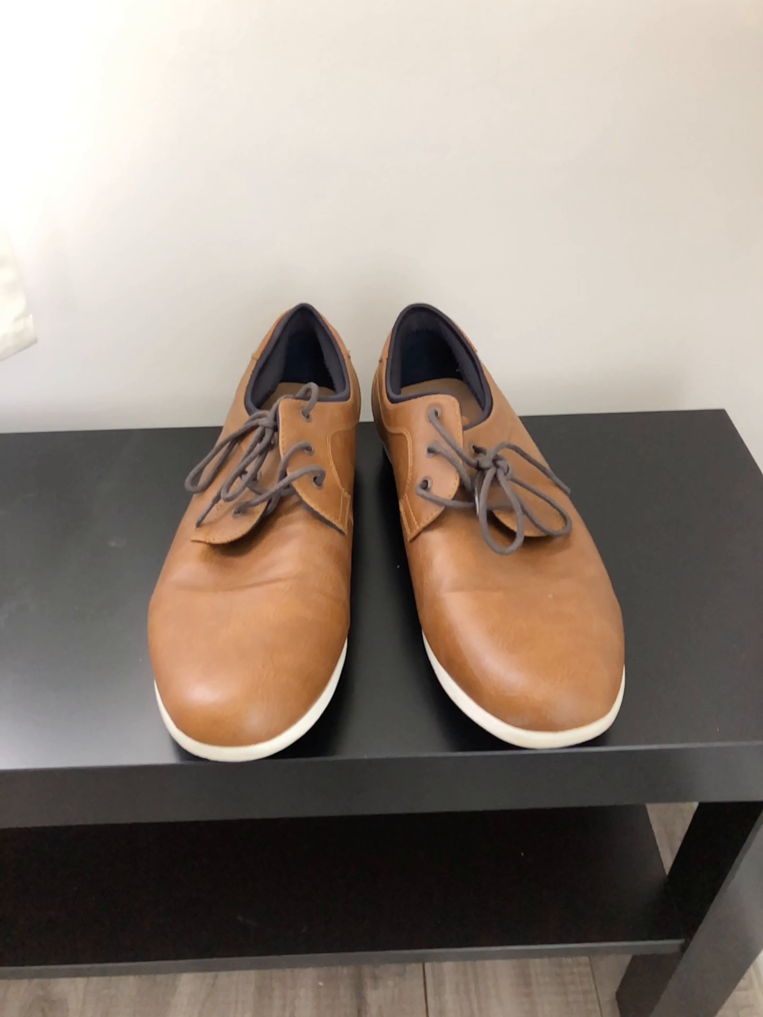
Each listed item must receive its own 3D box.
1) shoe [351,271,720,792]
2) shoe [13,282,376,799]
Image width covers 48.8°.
[{"bbox_3d":[0.053,-0.012,0.440,0.104,0.100,0.281,-6,41,-5],"label":"shoe"},{"bbox_3d":[-0.066,-0.006,0.425,0.104,0.100,0.271,2,41,4],"label":"shoe"}]
